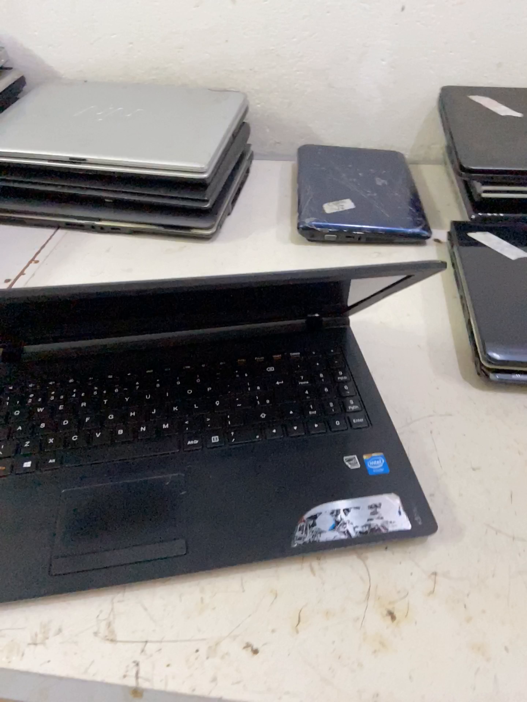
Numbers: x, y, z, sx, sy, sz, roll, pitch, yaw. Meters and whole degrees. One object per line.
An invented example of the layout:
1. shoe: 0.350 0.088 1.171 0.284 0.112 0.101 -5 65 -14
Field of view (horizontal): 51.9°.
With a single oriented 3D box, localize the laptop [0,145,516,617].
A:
1. laptop: -0.079 -0.002 0.408 0.376 0.189 0.259 -6 42 -7
